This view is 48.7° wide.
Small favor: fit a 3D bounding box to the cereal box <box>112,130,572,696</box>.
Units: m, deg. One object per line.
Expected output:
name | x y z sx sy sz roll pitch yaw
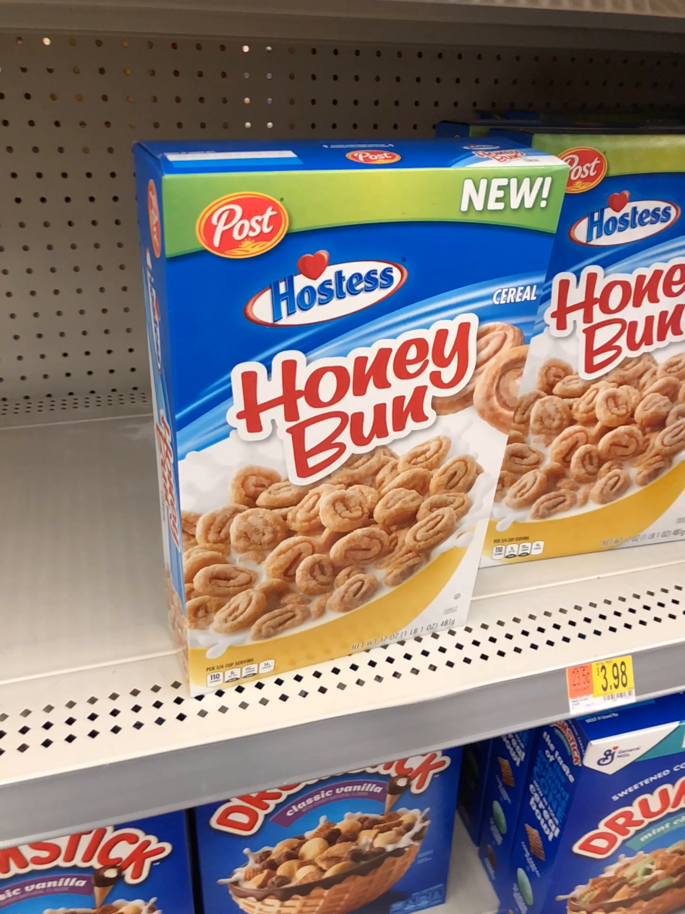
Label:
cereal box | -0.007 -0.018 0.430 0.200 0.299 0.070 -10 35 -20
